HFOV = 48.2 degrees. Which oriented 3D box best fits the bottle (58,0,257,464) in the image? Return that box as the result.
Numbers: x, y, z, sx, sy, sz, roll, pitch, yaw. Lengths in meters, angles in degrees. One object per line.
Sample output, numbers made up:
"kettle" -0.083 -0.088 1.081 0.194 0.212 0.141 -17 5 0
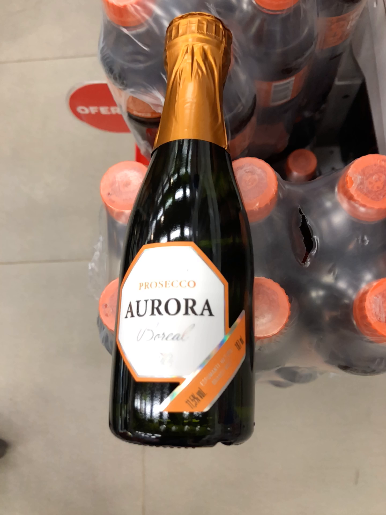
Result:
"bottle" -0.006 -0.023 0.172 0.060 0.050 0.180 1 79 5
